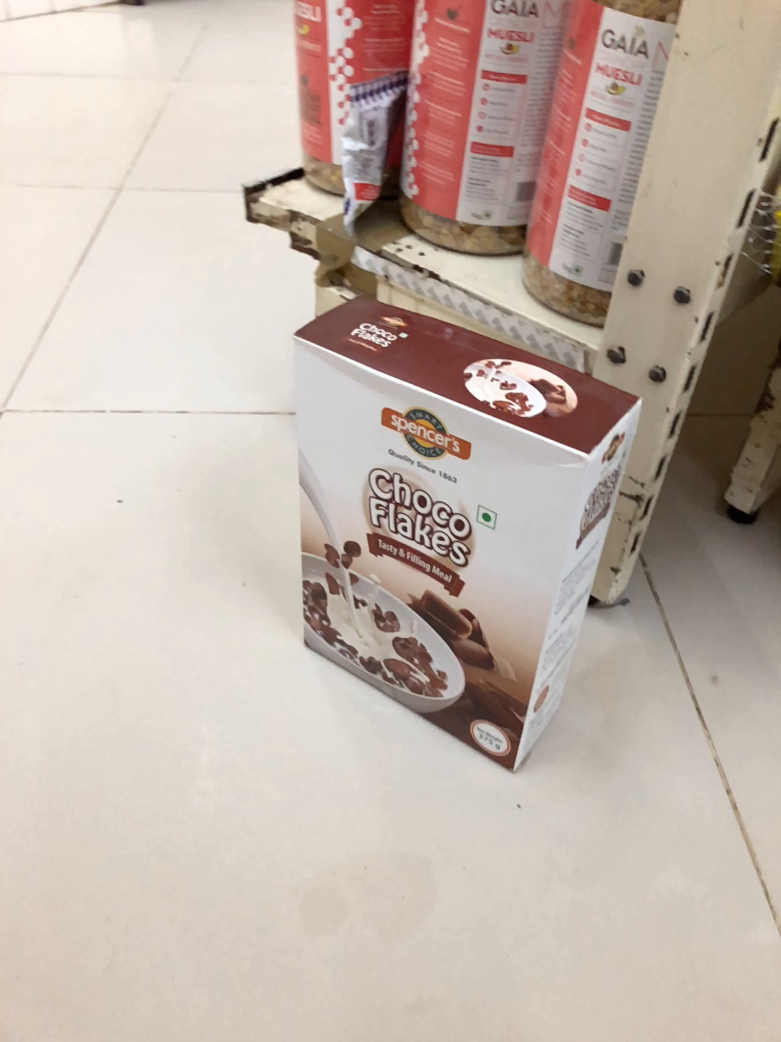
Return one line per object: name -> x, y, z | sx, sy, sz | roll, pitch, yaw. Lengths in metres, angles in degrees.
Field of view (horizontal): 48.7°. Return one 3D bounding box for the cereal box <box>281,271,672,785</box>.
cereal box -> 0.034, 0.011, 0.510 | 0.190, 0.258, 0.060 | 27, 46, 26
